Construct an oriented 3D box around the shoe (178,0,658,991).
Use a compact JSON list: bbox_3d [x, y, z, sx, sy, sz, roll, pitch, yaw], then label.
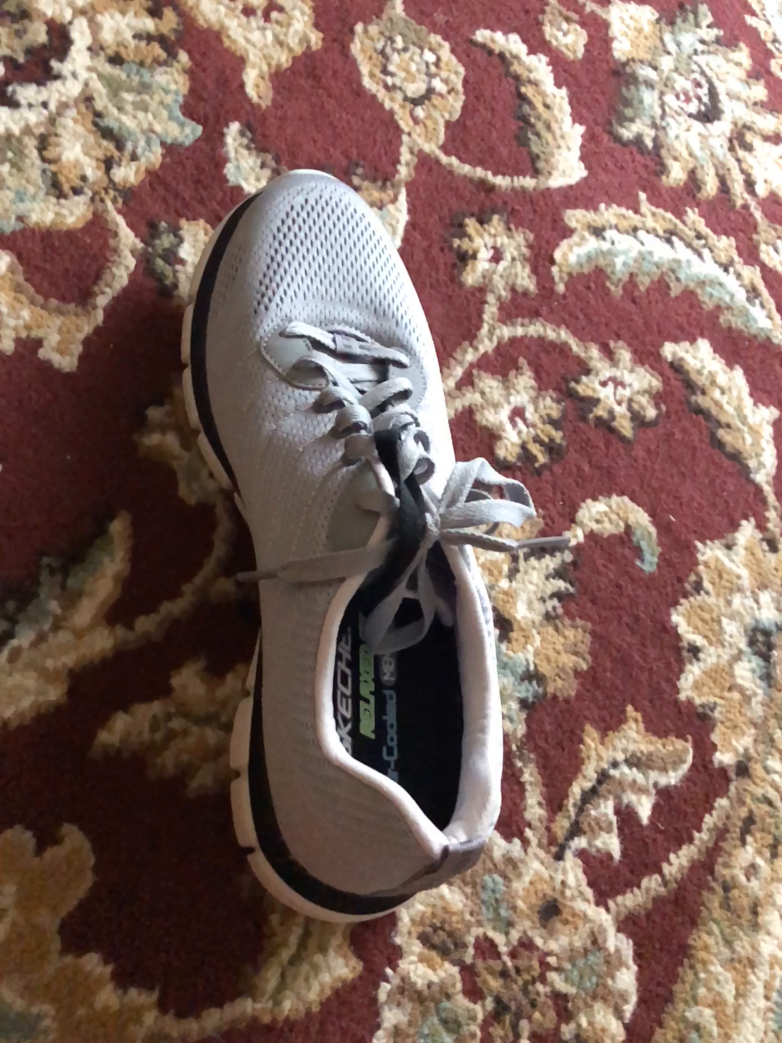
[{"bbox_3d":[-0.014,-0.016,0.312,0.100,0.130,0.300,2,70,-22],"label":"shoe"}]
